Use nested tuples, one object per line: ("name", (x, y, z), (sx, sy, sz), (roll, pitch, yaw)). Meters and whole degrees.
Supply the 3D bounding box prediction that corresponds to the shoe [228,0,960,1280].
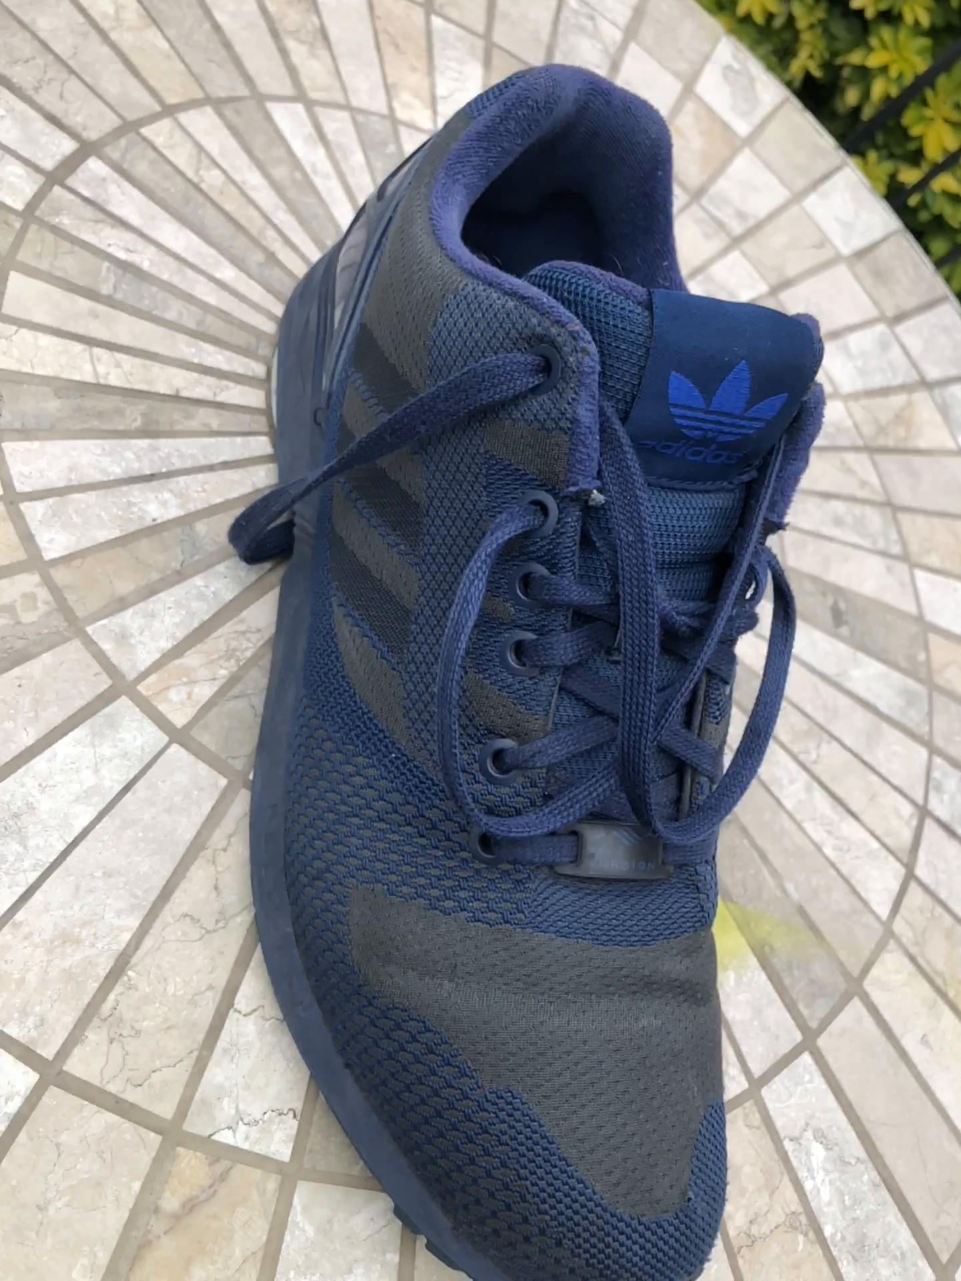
("shoe", (0.014, 0.001, 0.252), (0.110, 0.109, 0.281), (6, 65, -30))
